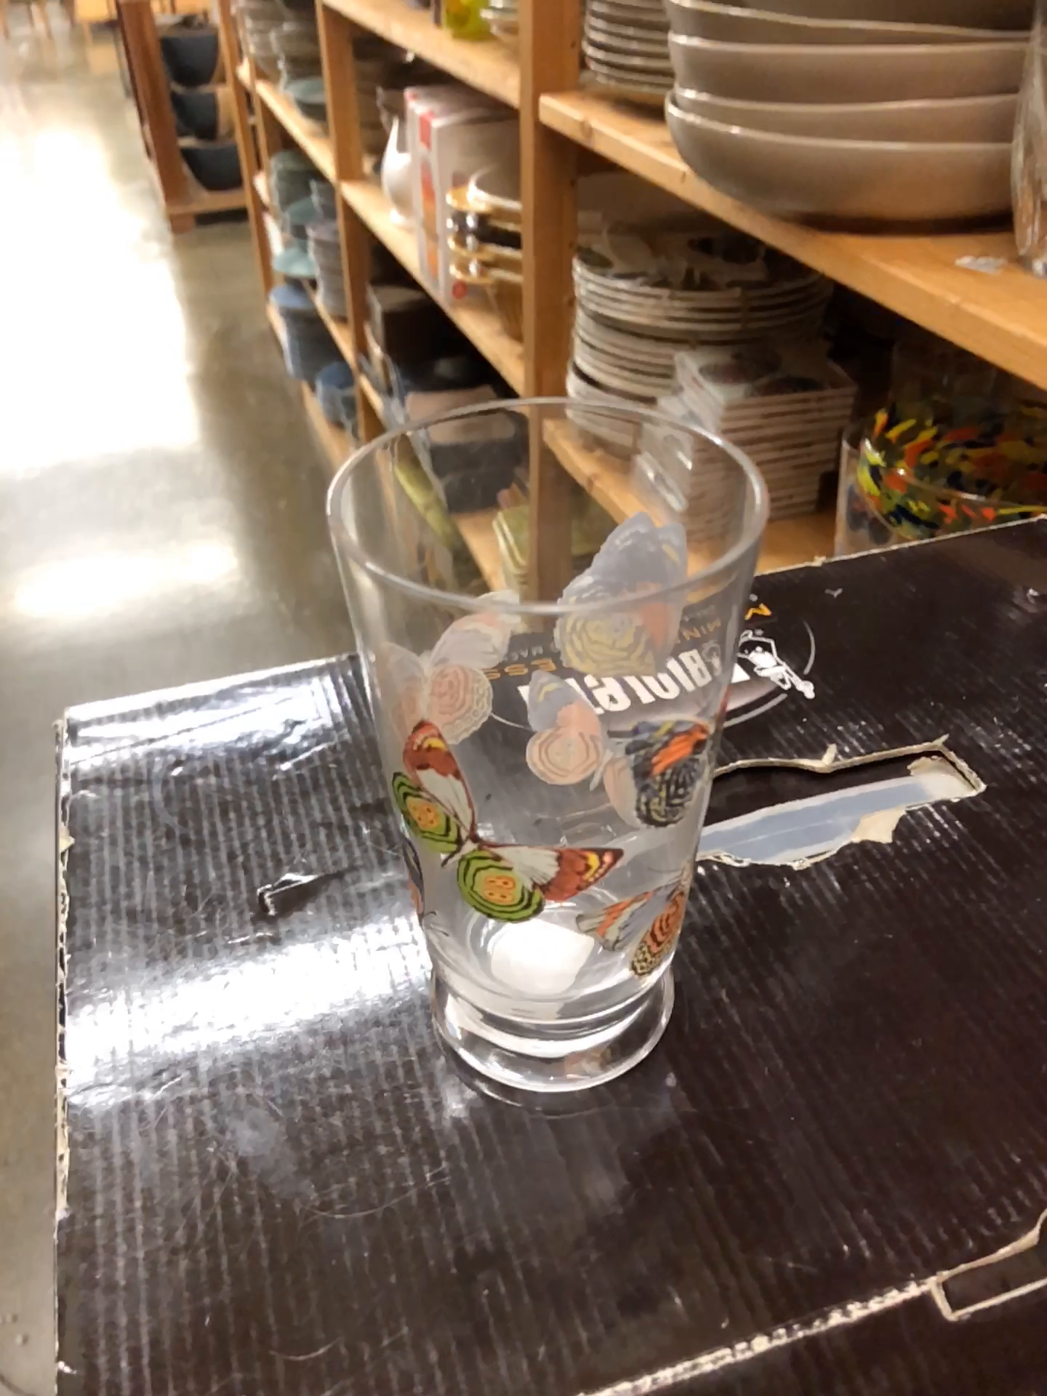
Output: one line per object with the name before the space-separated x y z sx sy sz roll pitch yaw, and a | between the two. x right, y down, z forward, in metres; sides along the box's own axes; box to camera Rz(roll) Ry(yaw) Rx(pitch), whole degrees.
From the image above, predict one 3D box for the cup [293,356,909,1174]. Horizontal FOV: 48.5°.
cup | 0.008 0.013 0.223 0.079 0.125 0.075 -1 36 1
